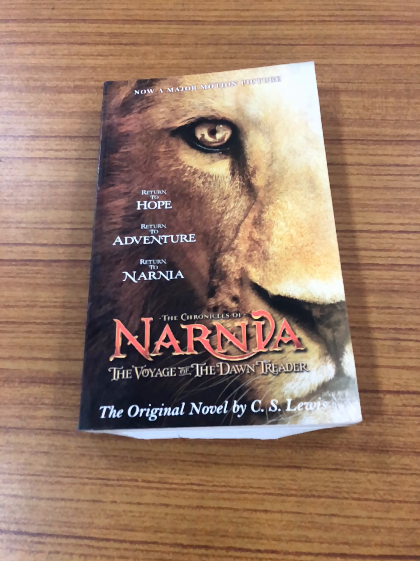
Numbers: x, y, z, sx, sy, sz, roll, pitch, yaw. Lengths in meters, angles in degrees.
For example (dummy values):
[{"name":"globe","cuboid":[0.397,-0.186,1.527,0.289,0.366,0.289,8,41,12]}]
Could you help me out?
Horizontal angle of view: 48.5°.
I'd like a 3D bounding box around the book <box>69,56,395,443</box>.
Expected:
[{"name":"book","cuboid":[0.006,-0.021,0.218,0.120,0.030,0.180,-2,69,2]}]
